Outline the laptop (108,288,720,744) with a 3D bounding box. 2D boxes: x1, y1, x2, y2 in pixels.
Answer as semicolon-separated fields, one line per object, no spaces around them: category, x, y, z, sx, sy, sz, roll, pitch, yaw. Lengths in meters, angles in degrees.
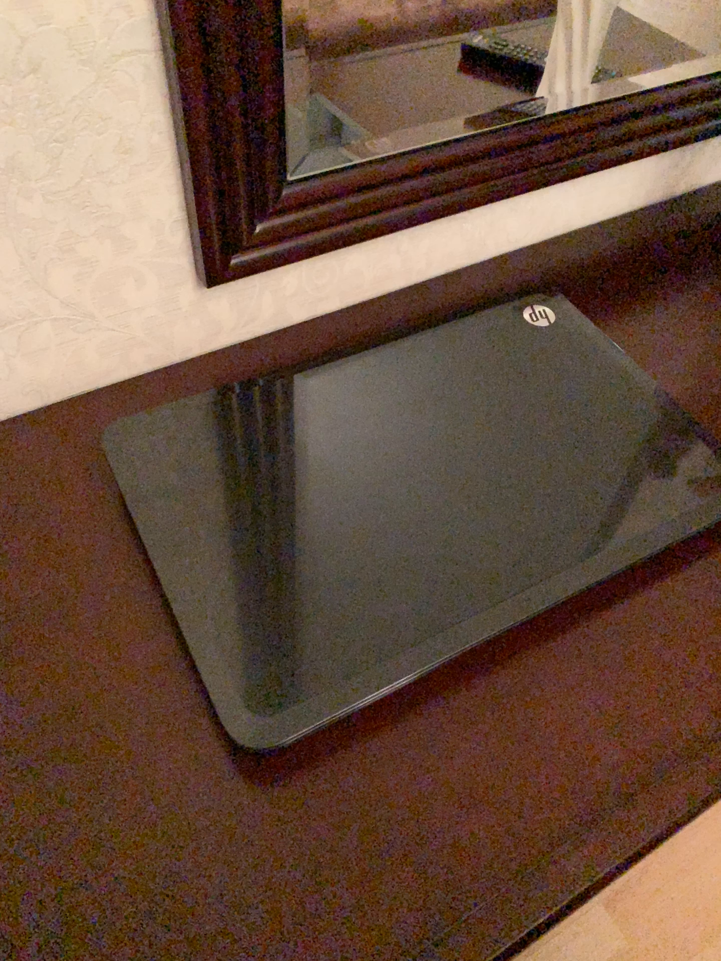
laptop;0.045;-0.014;0.465;0.345;0.003;0.222;-21;56;-21
